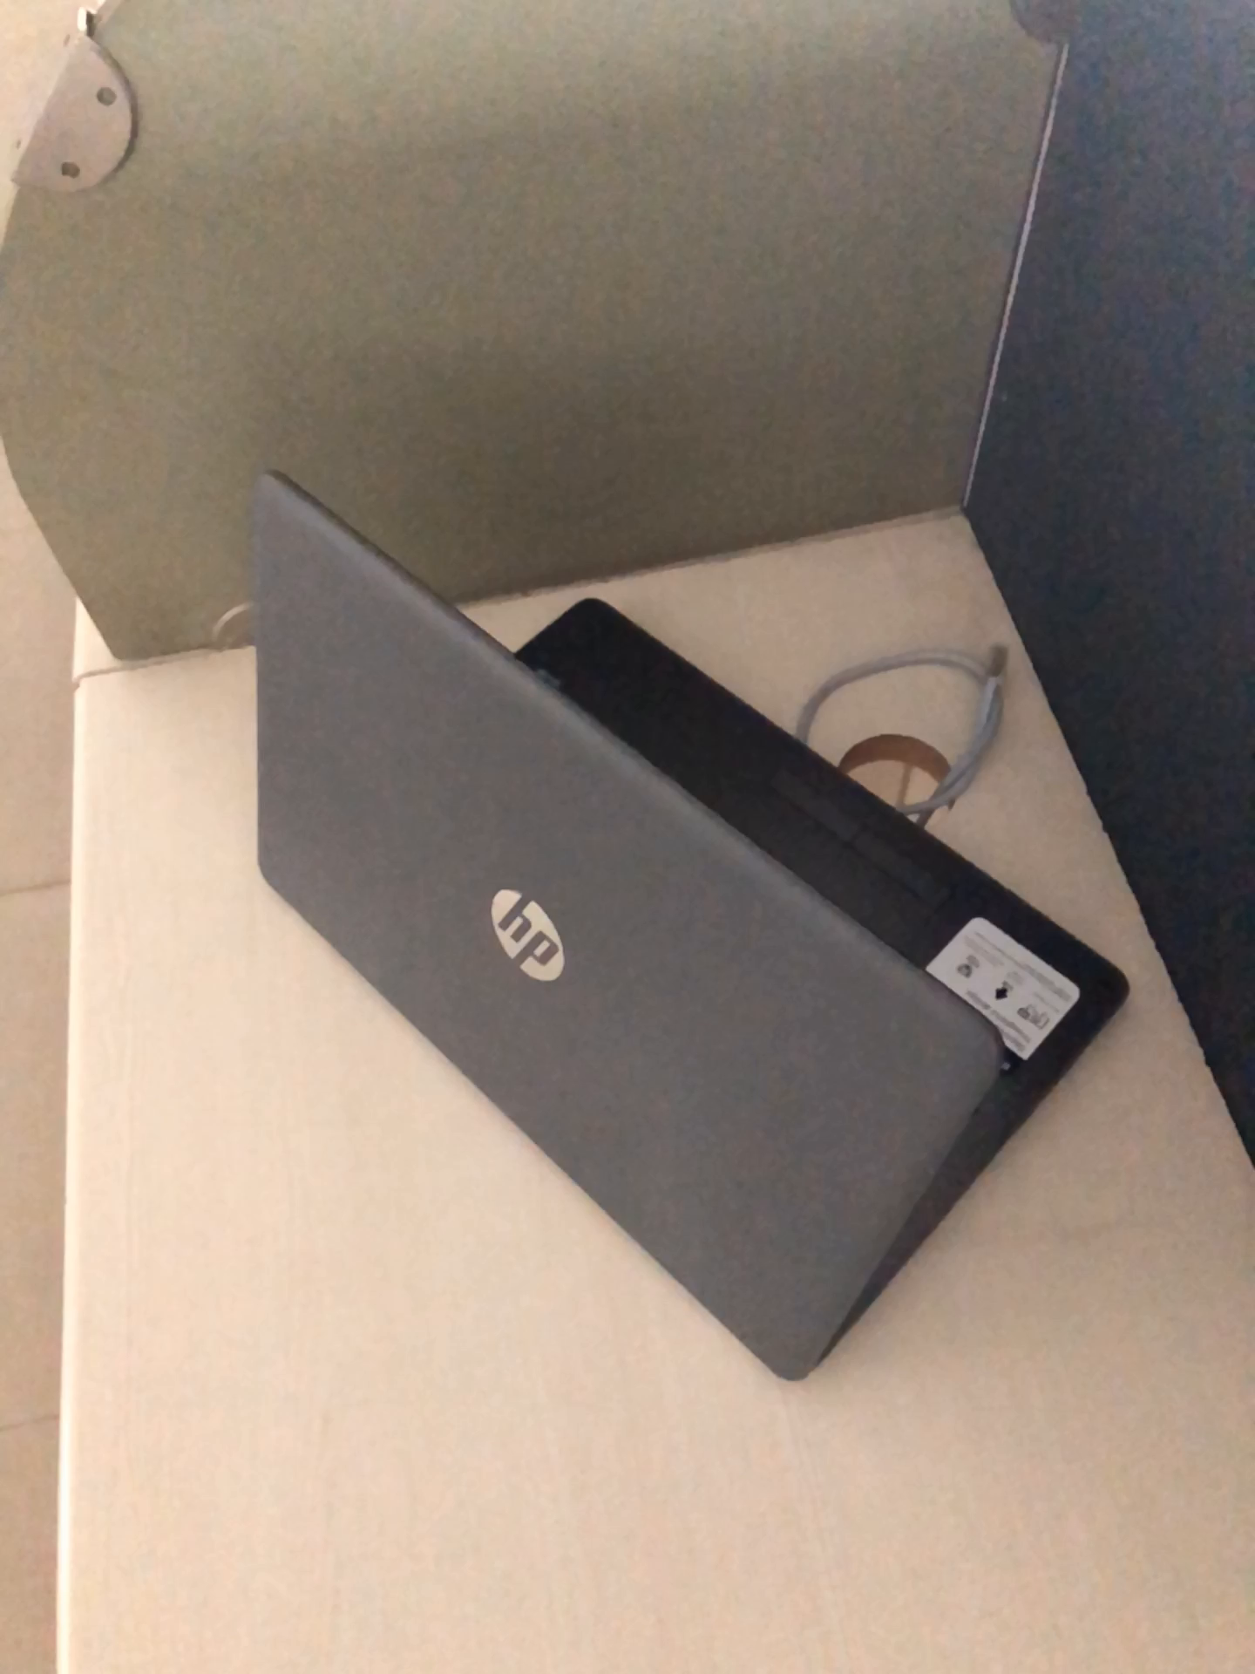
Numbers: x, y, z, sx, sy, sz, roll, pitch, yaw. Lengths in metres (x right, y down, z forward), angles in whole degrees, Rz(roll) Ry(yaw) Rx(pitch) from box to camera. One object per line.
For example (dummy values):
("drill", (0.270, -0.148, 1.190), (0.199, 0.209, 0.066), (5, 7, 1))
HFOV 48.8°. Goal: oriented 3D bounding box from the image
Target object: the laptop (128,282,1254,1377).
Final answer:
("laptop", (0.017, -0.012, 0.598), (0.238, 0.216, 0.360), (-41, 64, -19))
